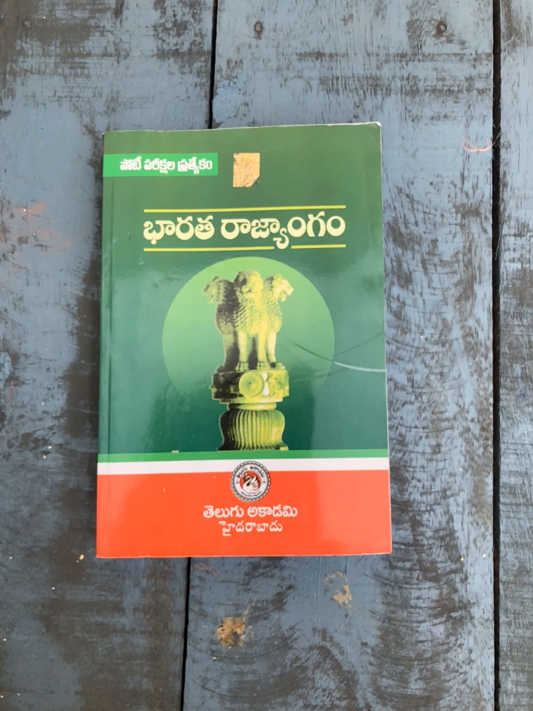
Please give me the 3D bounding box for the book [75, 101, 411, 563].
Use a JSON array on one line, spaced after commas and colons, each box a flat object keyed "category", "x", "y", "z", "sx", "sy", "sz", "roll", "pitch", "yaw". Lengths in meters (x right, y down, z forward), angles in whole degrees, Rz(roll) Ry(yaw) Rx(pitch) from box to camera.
[{"category": "book", "x": -0.013, "y": -0.014, "z": 0.317, "sx": 0.160, "sy": 0.040, "sz": 0.230, "roll": -1, "pitch": 83, "yaw": 1}]
